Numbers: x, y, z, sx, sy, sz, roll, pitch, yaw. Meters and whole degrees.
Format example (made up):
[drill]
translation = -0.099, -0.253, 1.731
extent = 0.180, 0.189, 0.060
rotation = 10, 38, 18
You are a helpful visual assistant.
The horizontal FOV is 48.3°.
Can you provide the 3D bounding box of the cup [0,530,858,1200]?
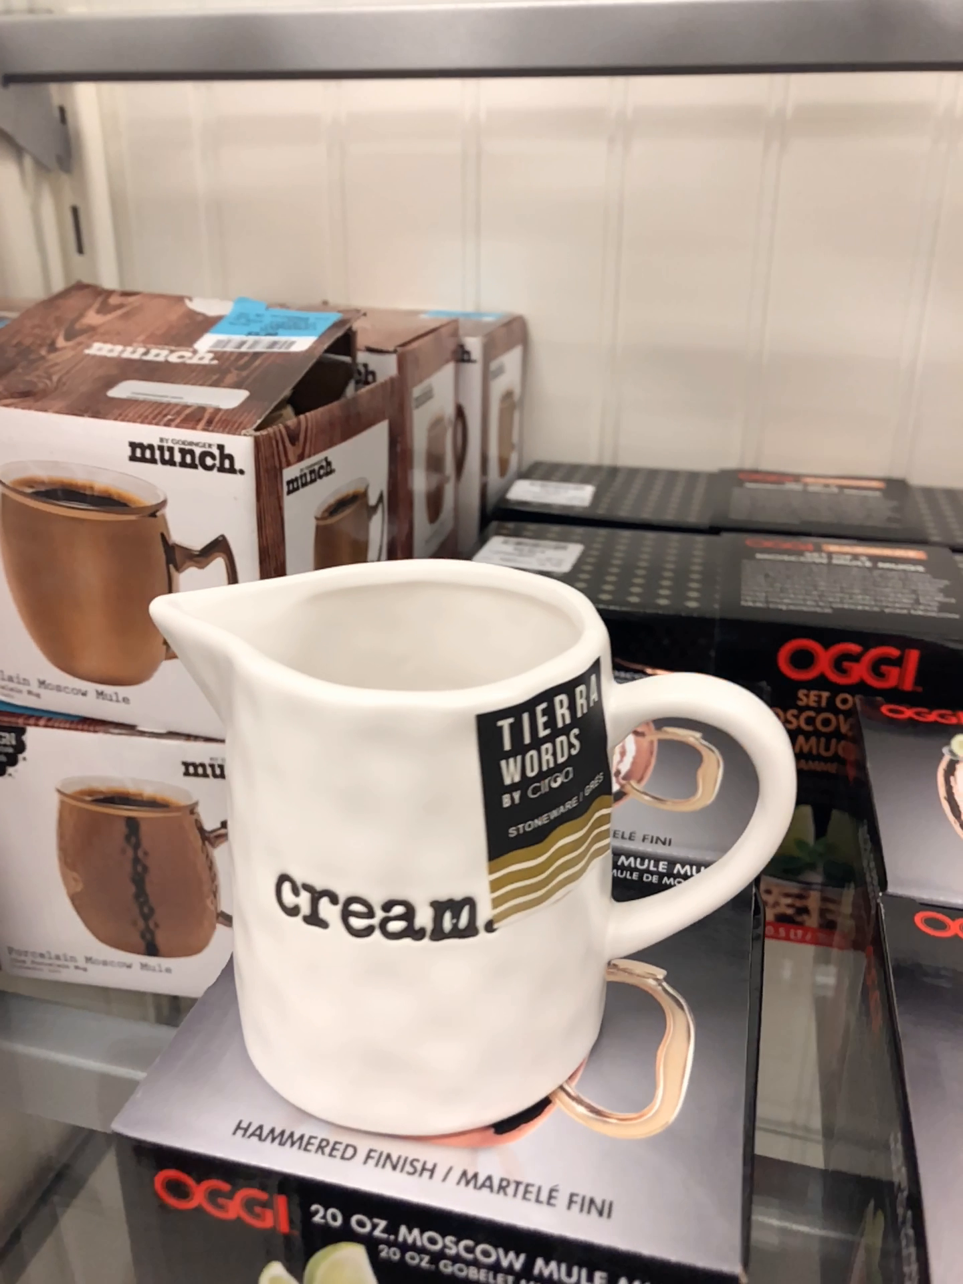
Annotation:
[cup]
translation = -0.011, 0.032, 0.184
extent = 0.125, 0.080, 0.063
rotation = 4, 23, 8
